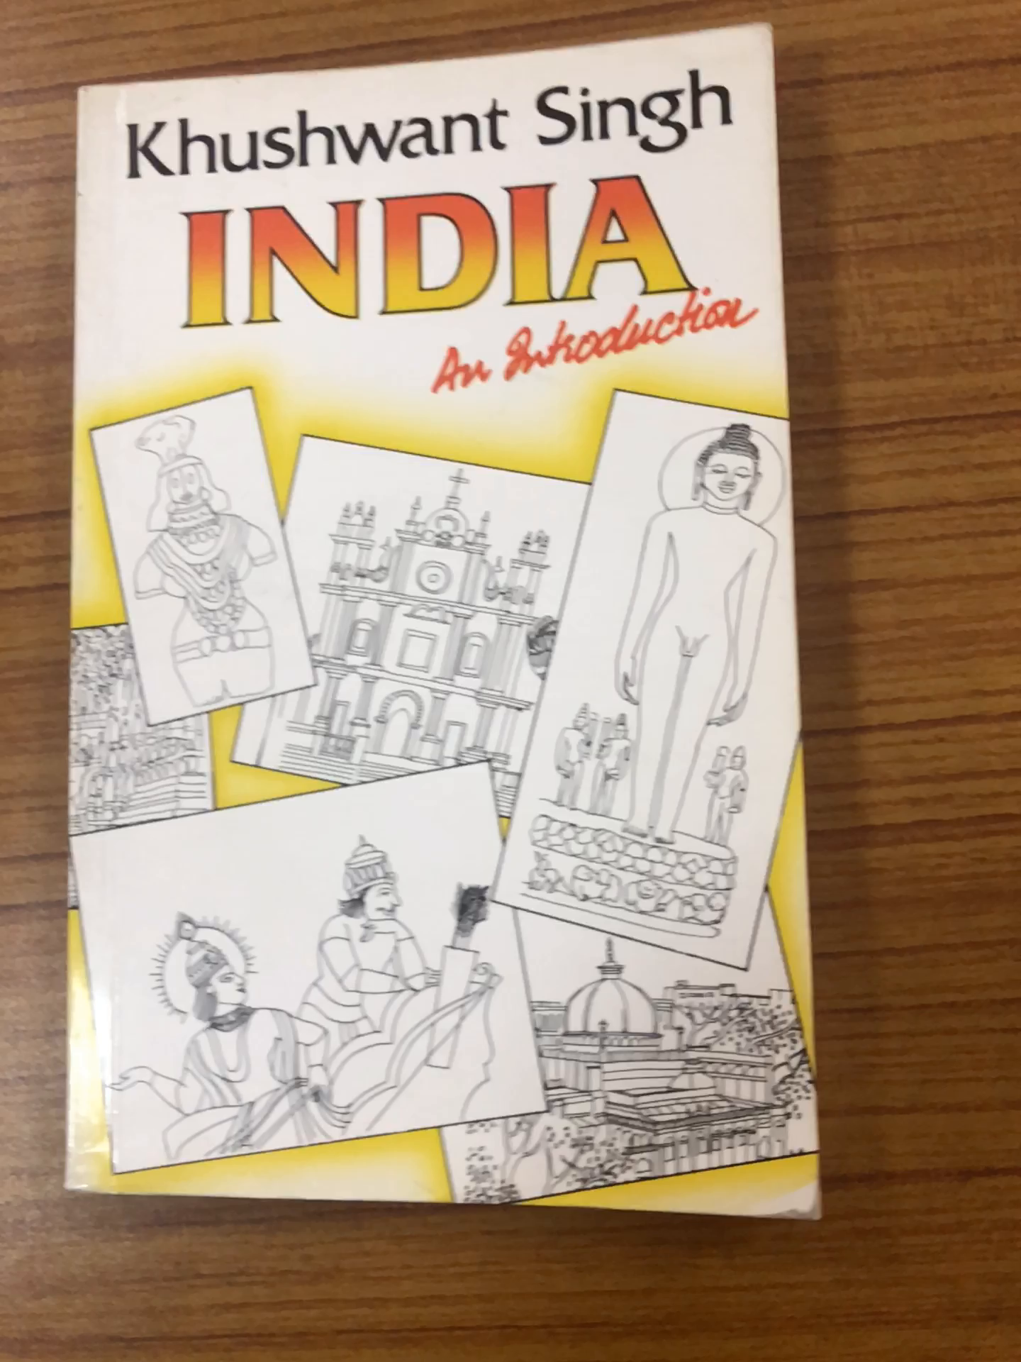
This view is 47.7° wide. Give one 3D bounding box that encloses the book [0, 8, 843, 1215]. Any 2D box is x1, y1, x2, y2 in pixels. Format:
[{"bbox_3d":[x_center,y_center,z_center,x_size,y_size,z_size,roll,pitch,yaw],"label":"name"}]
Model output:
[{"bbox_3d":[-0.021,-0.013,0.197,0.140,0.020,0.190,-1,84,6],"label":"book"}]
